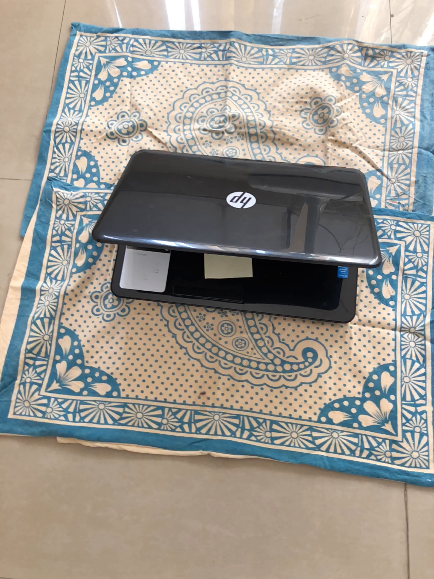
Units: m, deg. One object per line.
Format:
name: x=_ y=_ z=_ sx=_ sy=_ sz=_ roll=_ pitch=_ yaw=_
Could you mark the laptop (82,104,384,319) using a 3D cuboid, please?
laptop: x=0.029 y=-0.109 z=0.683 sx=0.363 sy=0.151 sz=0.237 roll=7 pitch=73 yaw=6
